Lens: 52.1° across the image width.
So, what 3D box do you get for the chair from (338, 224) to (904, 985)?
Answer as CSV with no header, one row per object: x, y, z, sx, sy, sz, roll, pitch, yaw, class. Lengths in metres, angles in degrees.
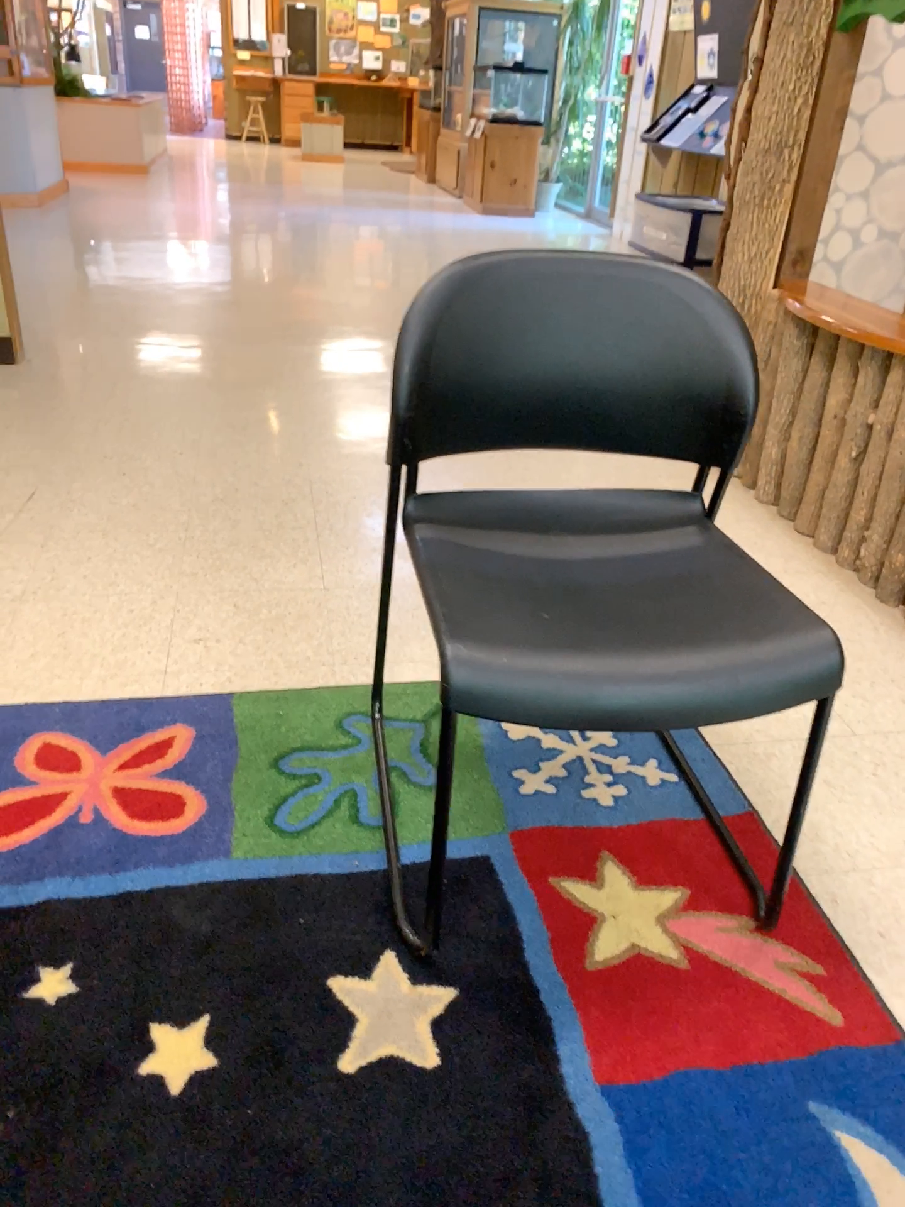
0.163,-0.027,1.210,0.570,0.785,0.533,-2,29,-12,chair
